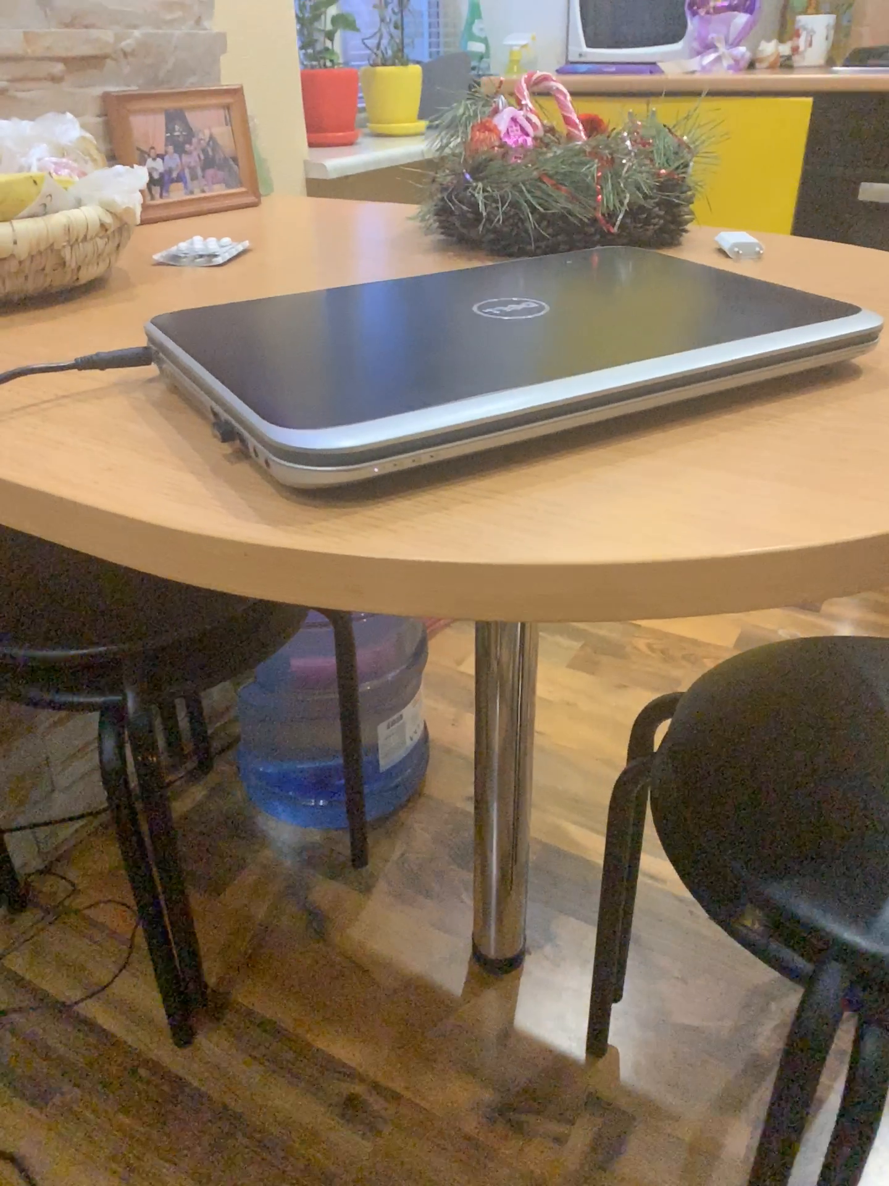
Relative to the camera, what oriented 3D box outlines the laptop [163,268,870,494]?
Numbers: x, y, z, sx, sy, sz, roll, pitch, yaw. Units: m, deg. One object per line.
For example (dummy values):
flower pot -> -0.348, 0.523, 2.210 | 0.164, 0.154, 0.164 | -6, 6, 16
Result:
laptop -> 0.037, -0.144, 0.538 | 0.349, 0.004, 0.226 | -17, 37, -24
